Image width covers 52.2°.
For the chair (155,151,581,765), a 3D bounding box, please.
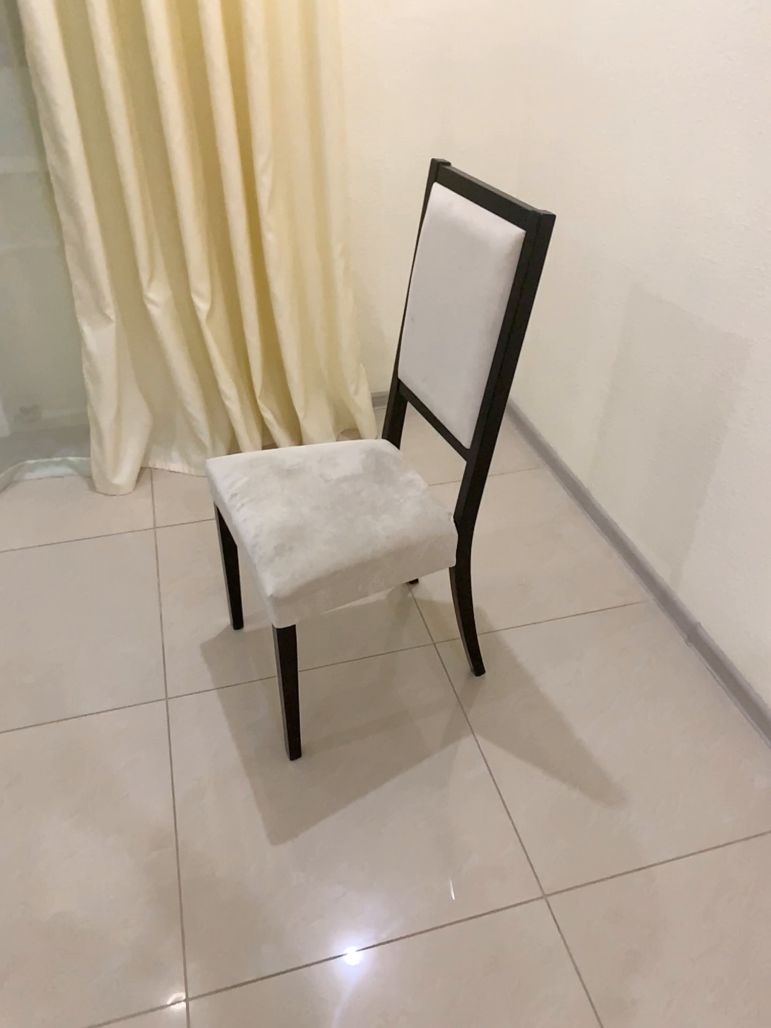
[{"bbox_3d":[-0.063,-0.104,1.488,0.510,0.964,0.483,-13,37,-20],"label":"chair"}]
